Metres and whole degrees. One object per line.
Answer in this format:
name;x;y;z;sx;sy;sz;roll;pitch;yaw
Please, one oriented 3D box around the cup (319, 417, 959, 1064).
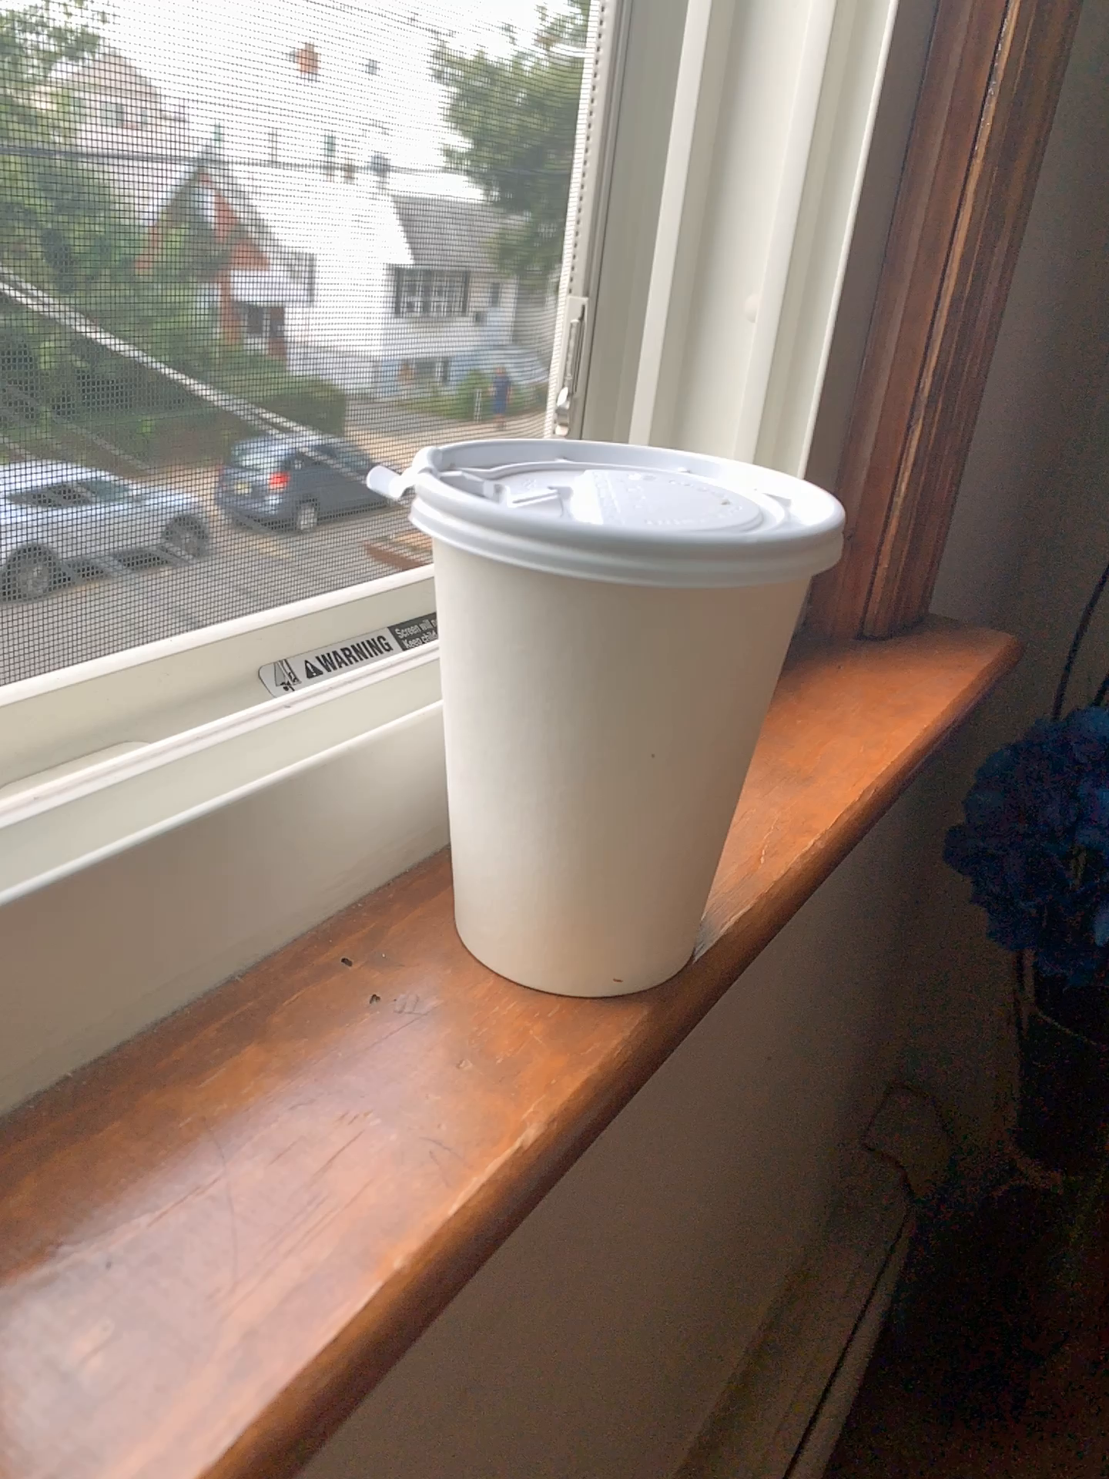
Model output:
cup;0.011;-0.011;0.250;0.090;0.099;0.090;6;24;-2
